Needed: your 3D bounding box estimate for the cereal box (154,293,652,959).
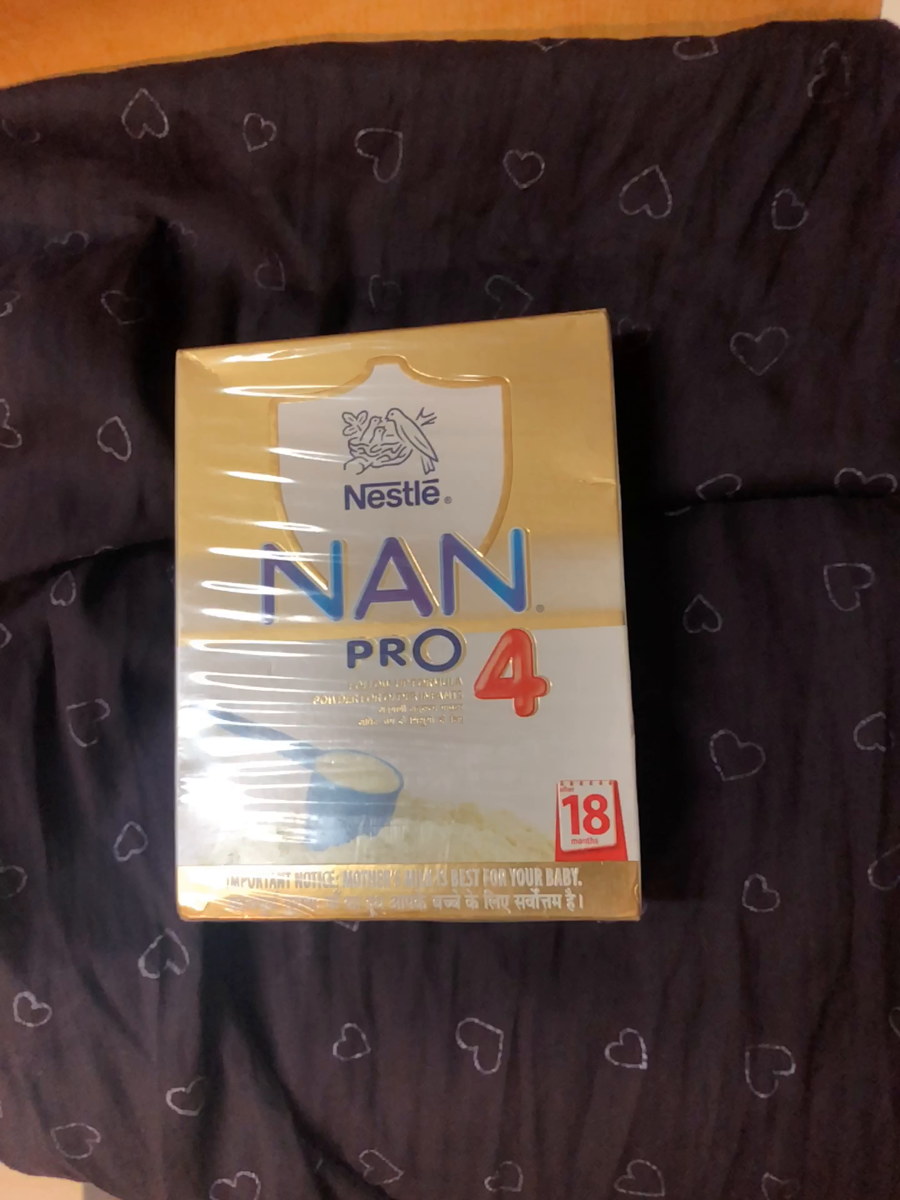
[{"bbox_3d":[-0.017,0.011,0.352,0.160,0.050,0.210,-3,83,10],"label":"cereal box"}]
